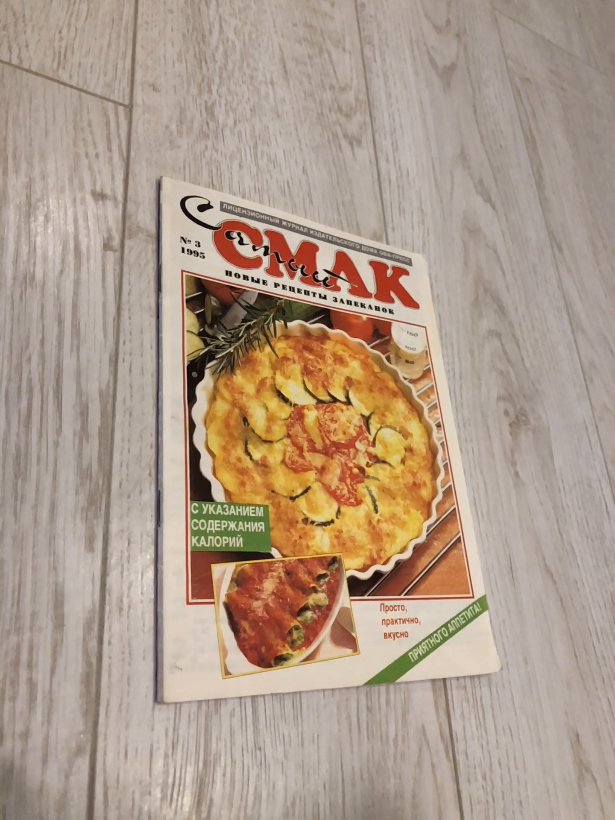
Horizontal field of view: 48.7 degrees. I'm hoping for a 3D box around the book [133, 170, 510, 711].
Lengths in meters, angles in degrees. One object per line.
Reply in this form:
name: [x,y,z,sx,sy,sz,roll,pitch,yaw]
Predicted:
book: [0.006,0.008,0.318,0.166,0.020,0.230,9,63,-29]
